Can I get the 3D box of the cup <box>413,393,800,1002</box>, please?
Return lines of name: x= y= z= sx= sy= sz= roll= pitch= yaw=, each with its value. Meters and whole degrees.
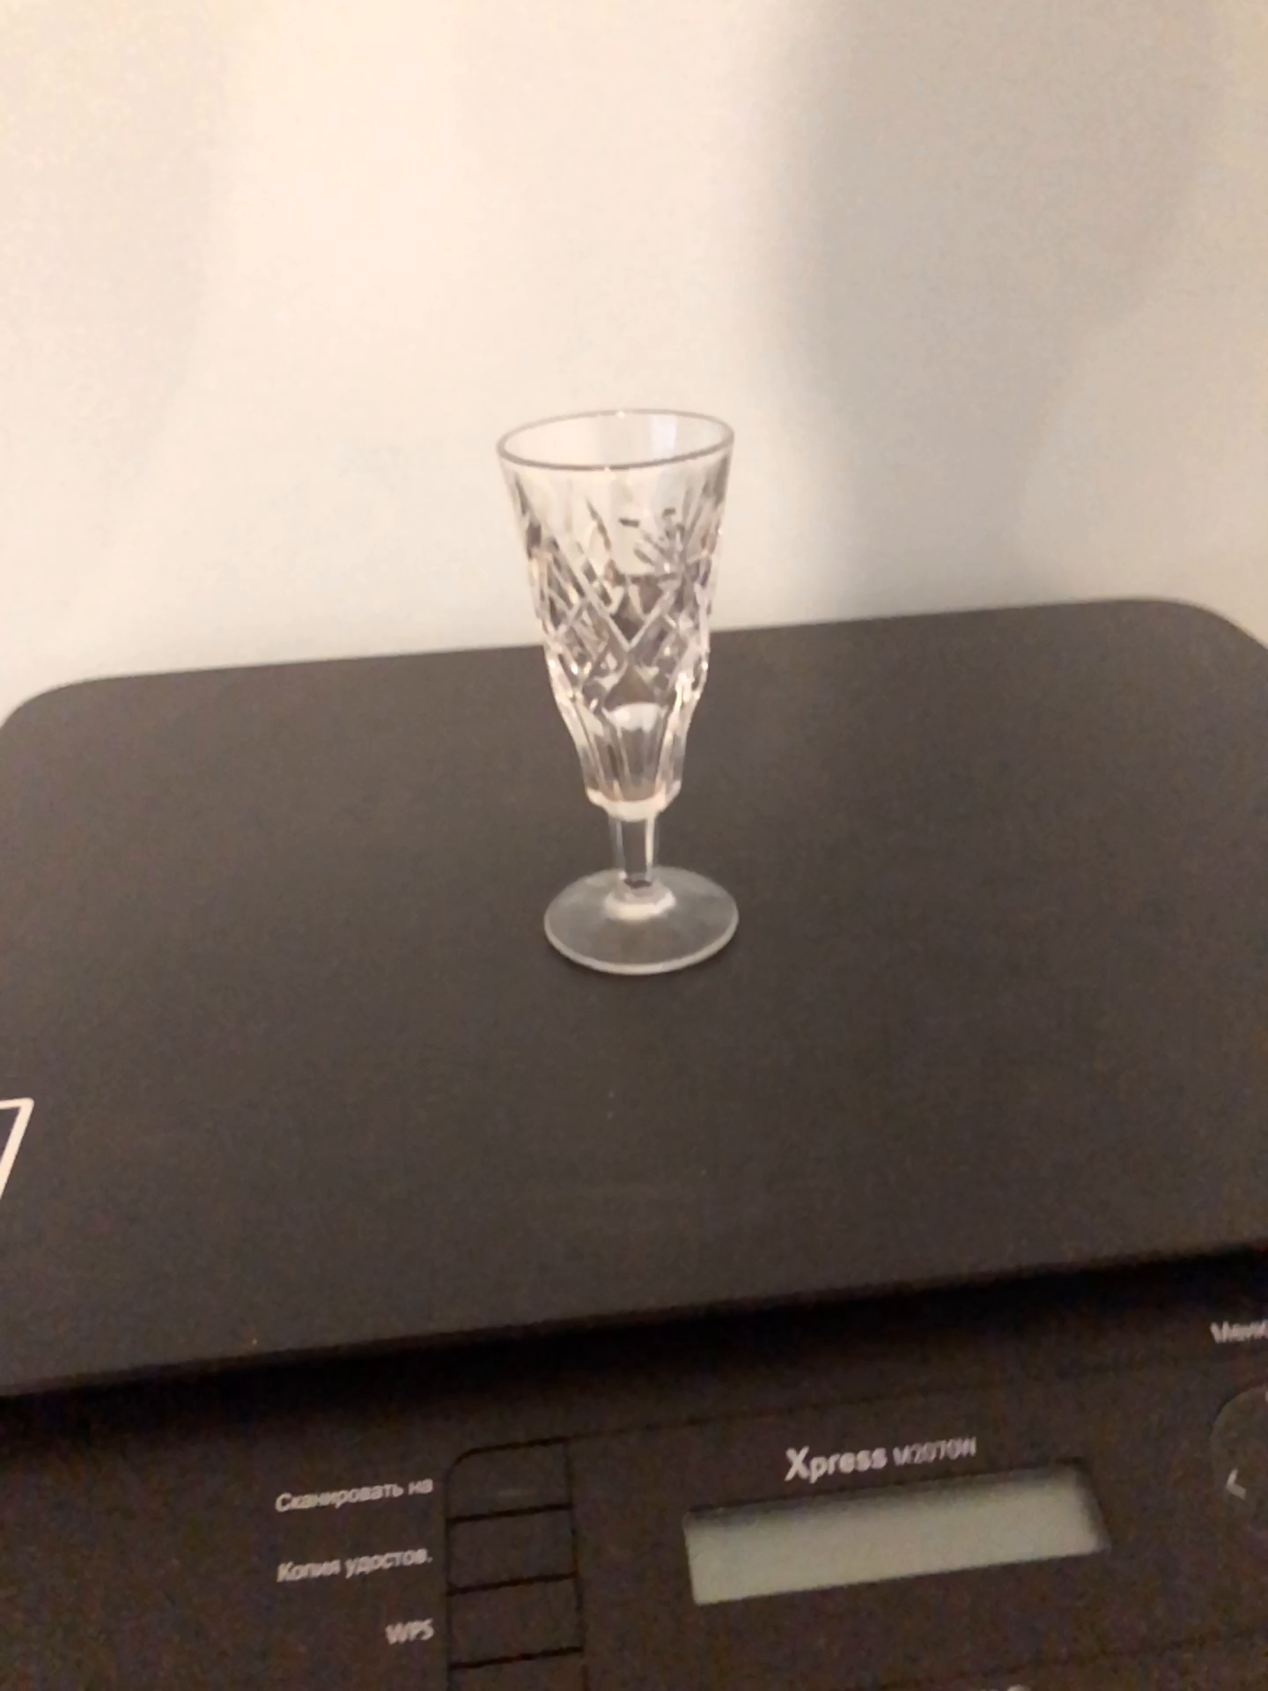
cup: x=-0.003 y=-0.033 z=0.303 sx=0.057 sy=0.109 sz=0.054 roll=-2 pitch=29 yaw=1
